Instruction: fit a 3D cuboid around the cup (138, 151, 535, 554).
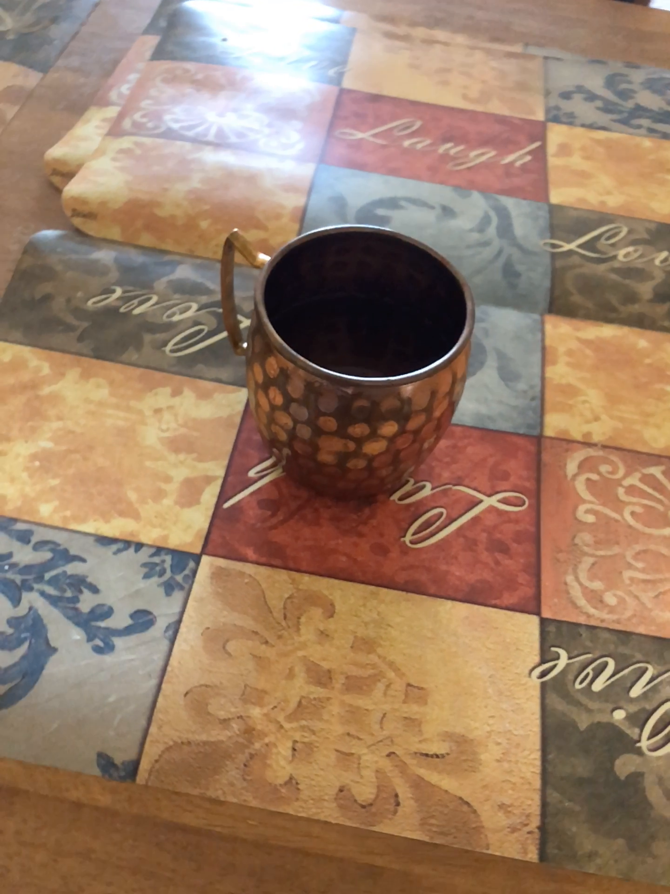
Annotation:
[{"bbox_3d":[-0.002,-0.043,0.330,0.120,0.090,0.100,39,61,20],"label":"cup"}]
